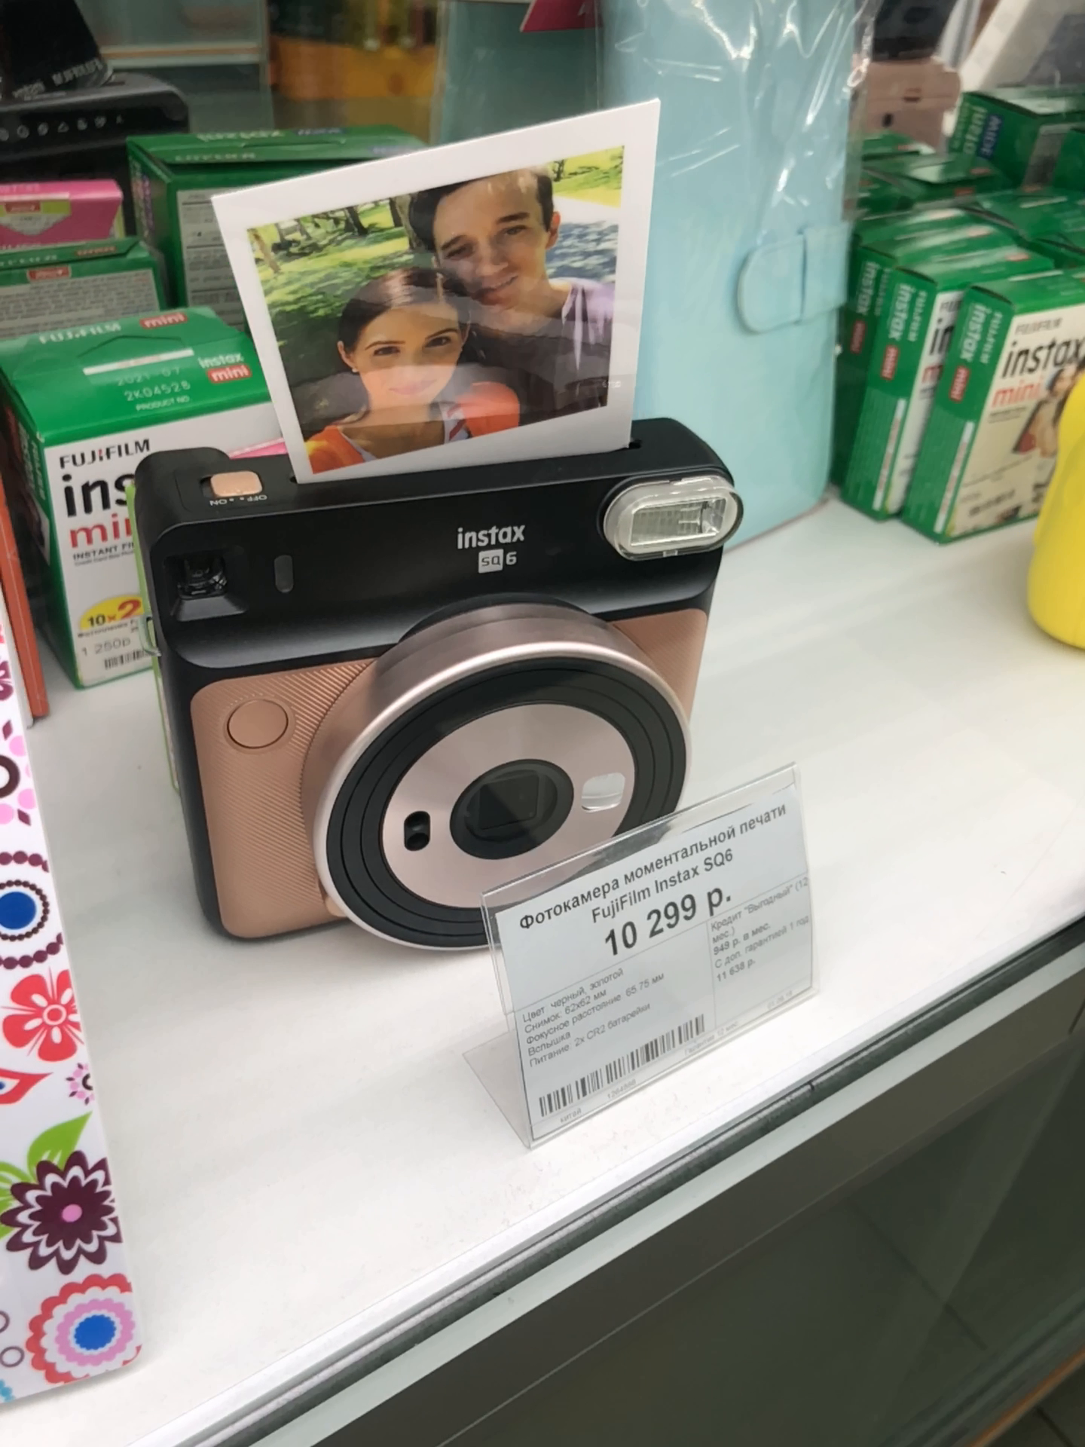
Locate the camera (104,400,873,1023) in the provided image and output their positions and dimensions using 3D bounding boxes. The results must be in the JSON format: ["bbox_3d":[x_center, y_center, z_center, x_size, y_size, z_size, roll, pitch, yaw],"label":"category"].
[{"bbox_3d":[-0.015,-0.006,0.271,0.140,0.104,0.060,-10,41,-18],"label":"camera"}]
